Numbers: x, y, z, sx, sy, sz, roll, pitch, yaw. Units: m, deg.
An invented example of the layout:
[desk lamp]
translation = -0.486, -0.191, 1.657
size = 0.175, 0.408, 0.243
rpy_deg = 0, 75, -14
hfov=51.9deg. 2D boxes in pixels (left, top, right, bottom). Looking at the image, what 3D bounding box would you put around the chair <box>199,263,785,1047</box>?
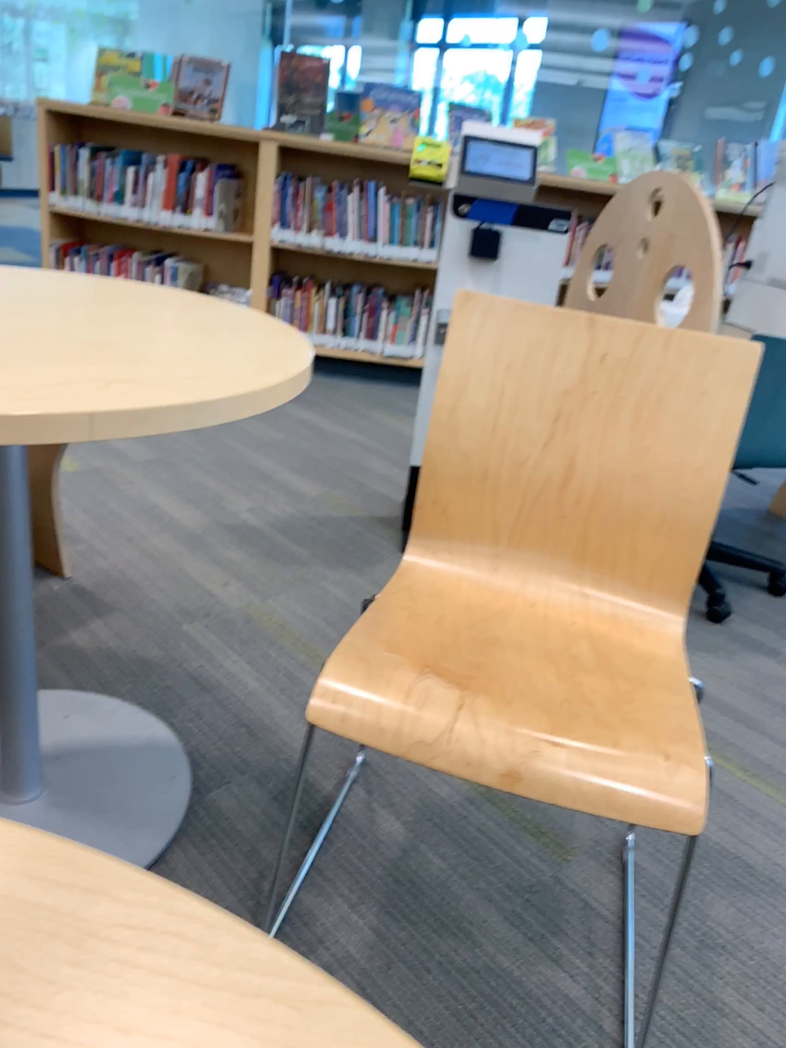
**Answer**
[chair]
translation = 0.164, 0.150, 1.038
size = 0.560, 0.806, 0.623
rpy_deg = 12, 23, 9
